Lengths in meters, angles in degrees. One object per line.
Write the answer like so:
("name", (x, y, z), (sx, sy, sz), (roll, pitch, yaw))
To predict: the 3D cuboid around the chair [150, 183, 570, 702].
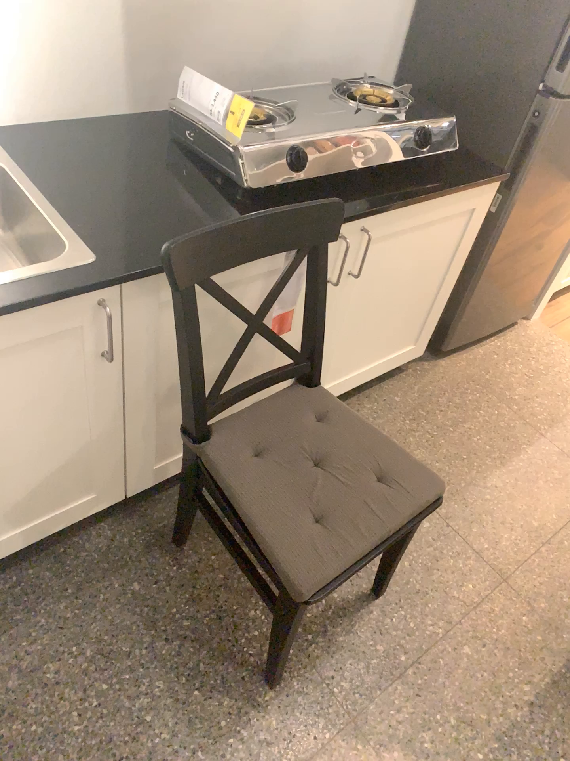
("chair", (0.059, 0.136, 1.119), (0.421, 0.787, 0.491), (-26, 56, -34))
